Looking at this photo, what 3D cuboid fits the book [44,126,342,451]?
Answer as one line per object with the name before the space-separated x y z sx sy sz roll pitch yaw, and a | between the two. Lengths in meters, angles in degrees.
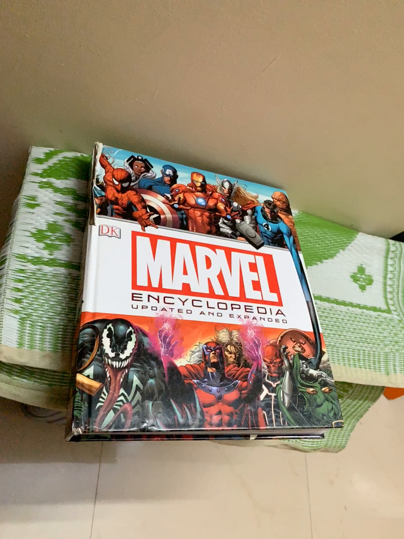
book | -0.007 0.010 0.437 0.261 0.040 0.321 9 57 -23
